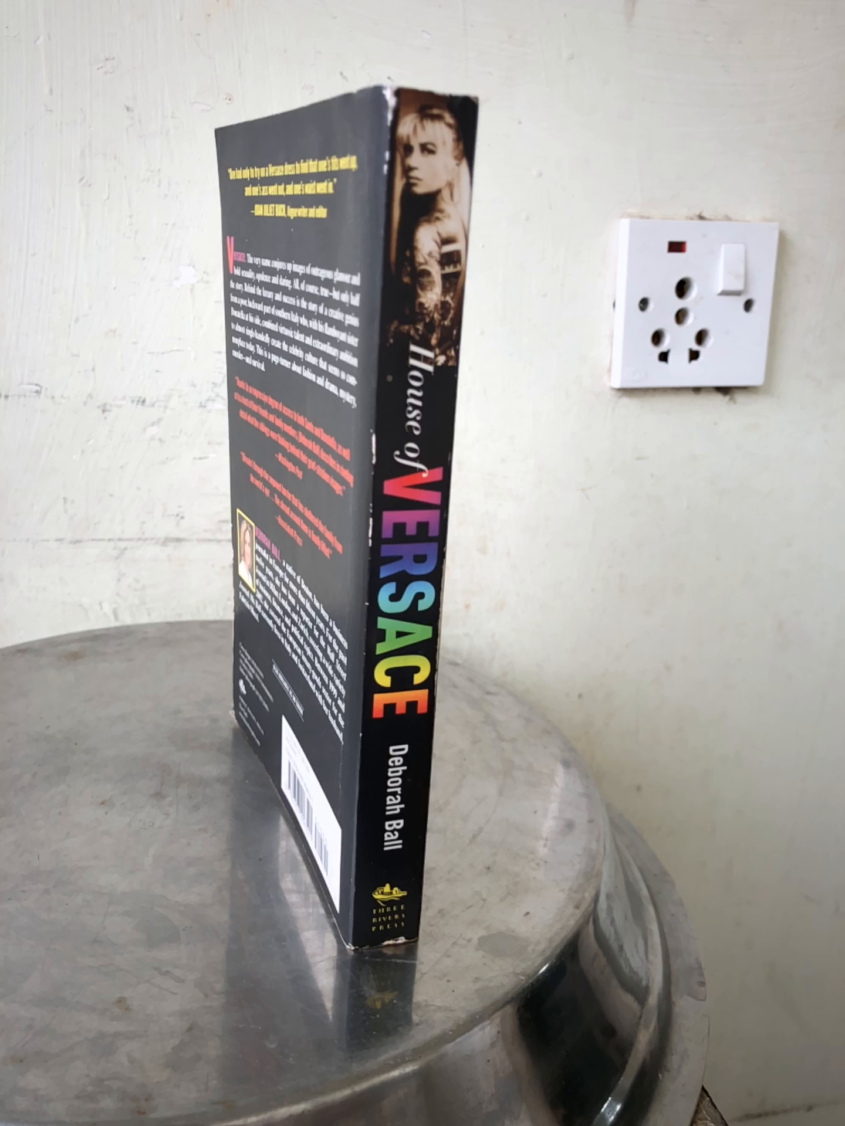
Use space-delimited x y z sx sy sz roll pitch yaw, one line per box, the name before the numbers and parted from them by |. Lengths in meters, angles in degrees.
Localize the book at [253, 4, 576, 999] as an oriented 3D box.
book | -0.020 -0.024 0.293 0.040 0.219 0.181 -1 16 -17
